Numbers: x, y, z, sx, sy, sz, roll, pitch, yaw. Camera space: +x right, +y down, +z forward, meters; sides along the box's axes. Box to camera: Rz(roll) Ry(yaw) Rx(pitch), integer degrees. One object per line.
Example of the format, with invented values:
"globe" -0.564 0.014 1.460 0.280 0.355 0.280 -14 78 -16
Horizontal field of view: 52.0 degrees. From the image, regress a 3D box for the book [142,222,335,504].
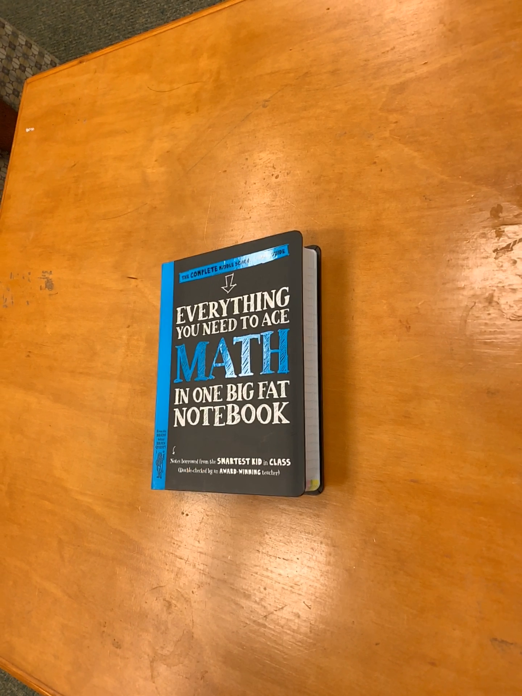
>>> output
"book" -0.024 0.017 0.454 0.157 0.050 0.208 -6 81 30
